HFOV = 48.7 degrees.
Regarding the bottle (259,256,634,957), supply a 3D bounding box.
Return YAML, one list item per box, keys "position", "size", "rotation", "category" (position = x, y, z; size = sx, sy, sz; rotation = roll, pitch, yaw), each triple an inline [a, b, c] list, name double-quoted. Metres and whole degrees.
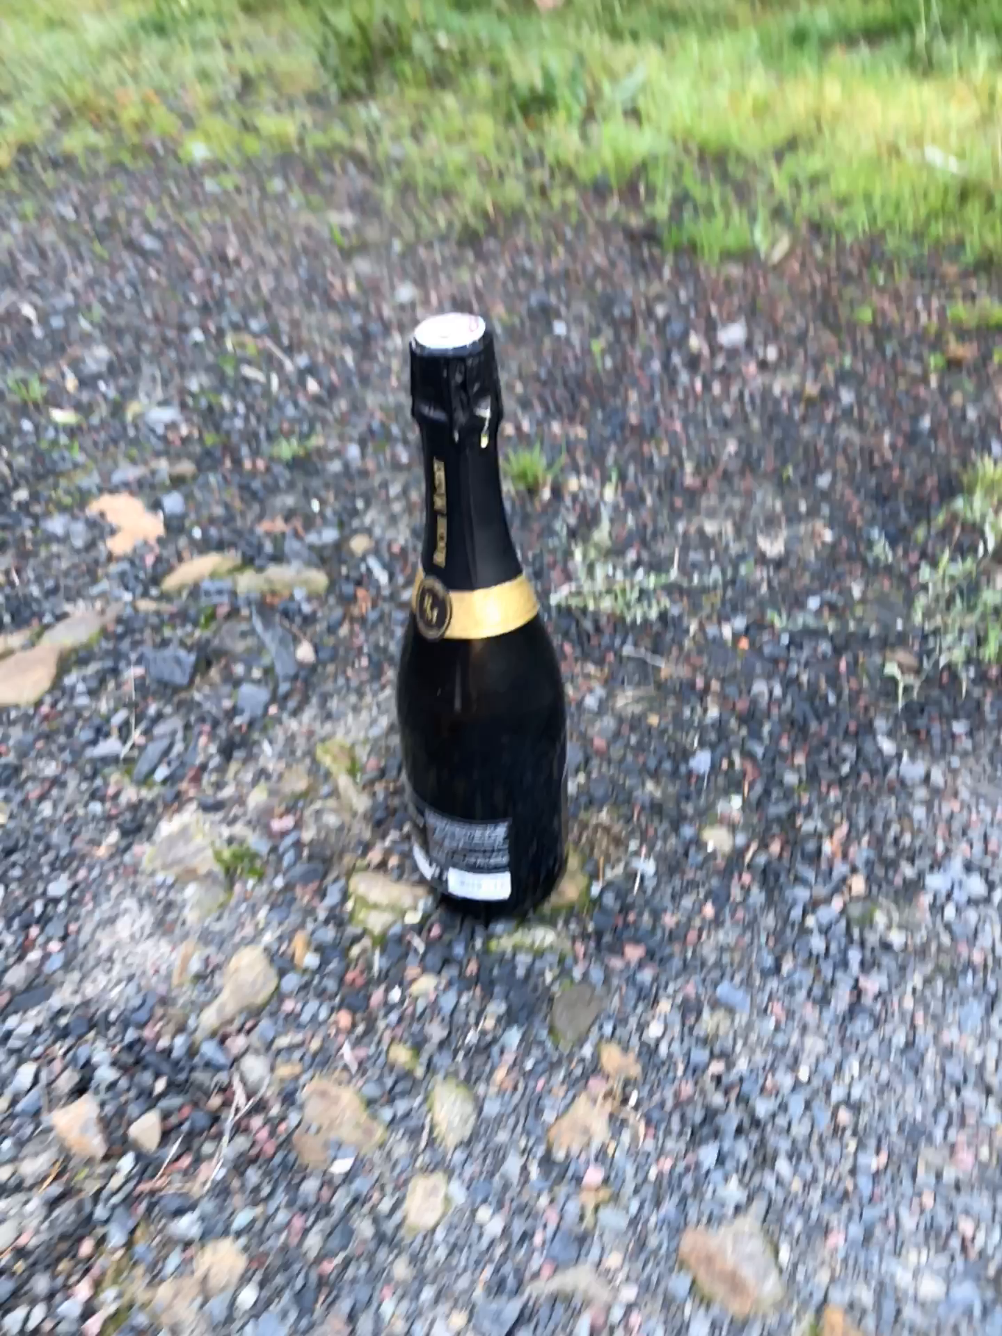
- position: [-0.012, -0.016, 0.513]
  size: [0.100, 0.298, 0.101]
  rotation: [-2, 40, 2]
  category: "bottle"
